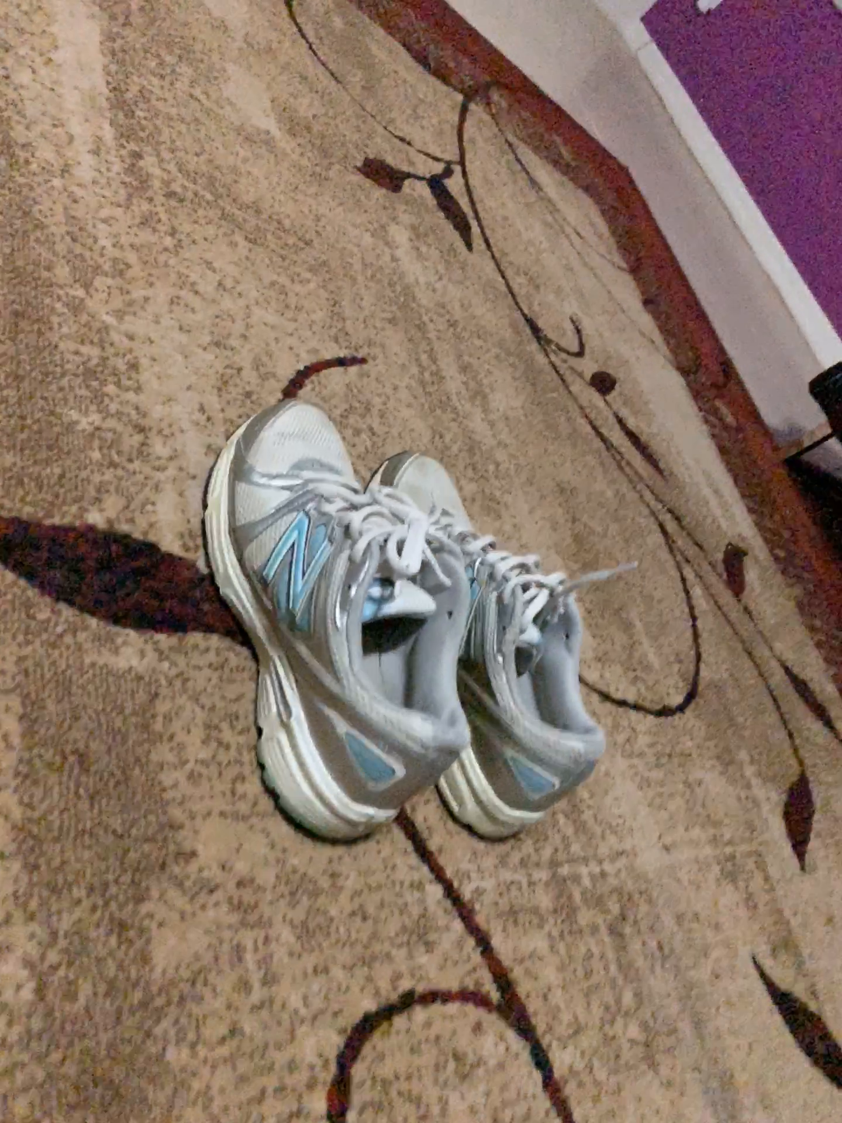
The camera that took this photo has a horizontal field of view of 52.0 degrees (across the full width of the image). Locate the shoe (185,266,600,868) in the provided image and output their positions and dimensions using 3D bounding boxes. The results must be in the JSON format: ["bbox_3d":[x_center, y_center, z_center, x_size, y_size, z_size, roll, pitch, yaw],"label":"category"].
[{"bbox_3d":[-0.030,0.001,0.475,0.111,0.124,0.283,13,51,-45],"label":"shoe"}]

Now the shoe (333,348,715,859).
[{"bbox_3d":[0.054,0.024,0.557,0.104,0.124,0.283,11,53,-46],"label":"shoe"}]
